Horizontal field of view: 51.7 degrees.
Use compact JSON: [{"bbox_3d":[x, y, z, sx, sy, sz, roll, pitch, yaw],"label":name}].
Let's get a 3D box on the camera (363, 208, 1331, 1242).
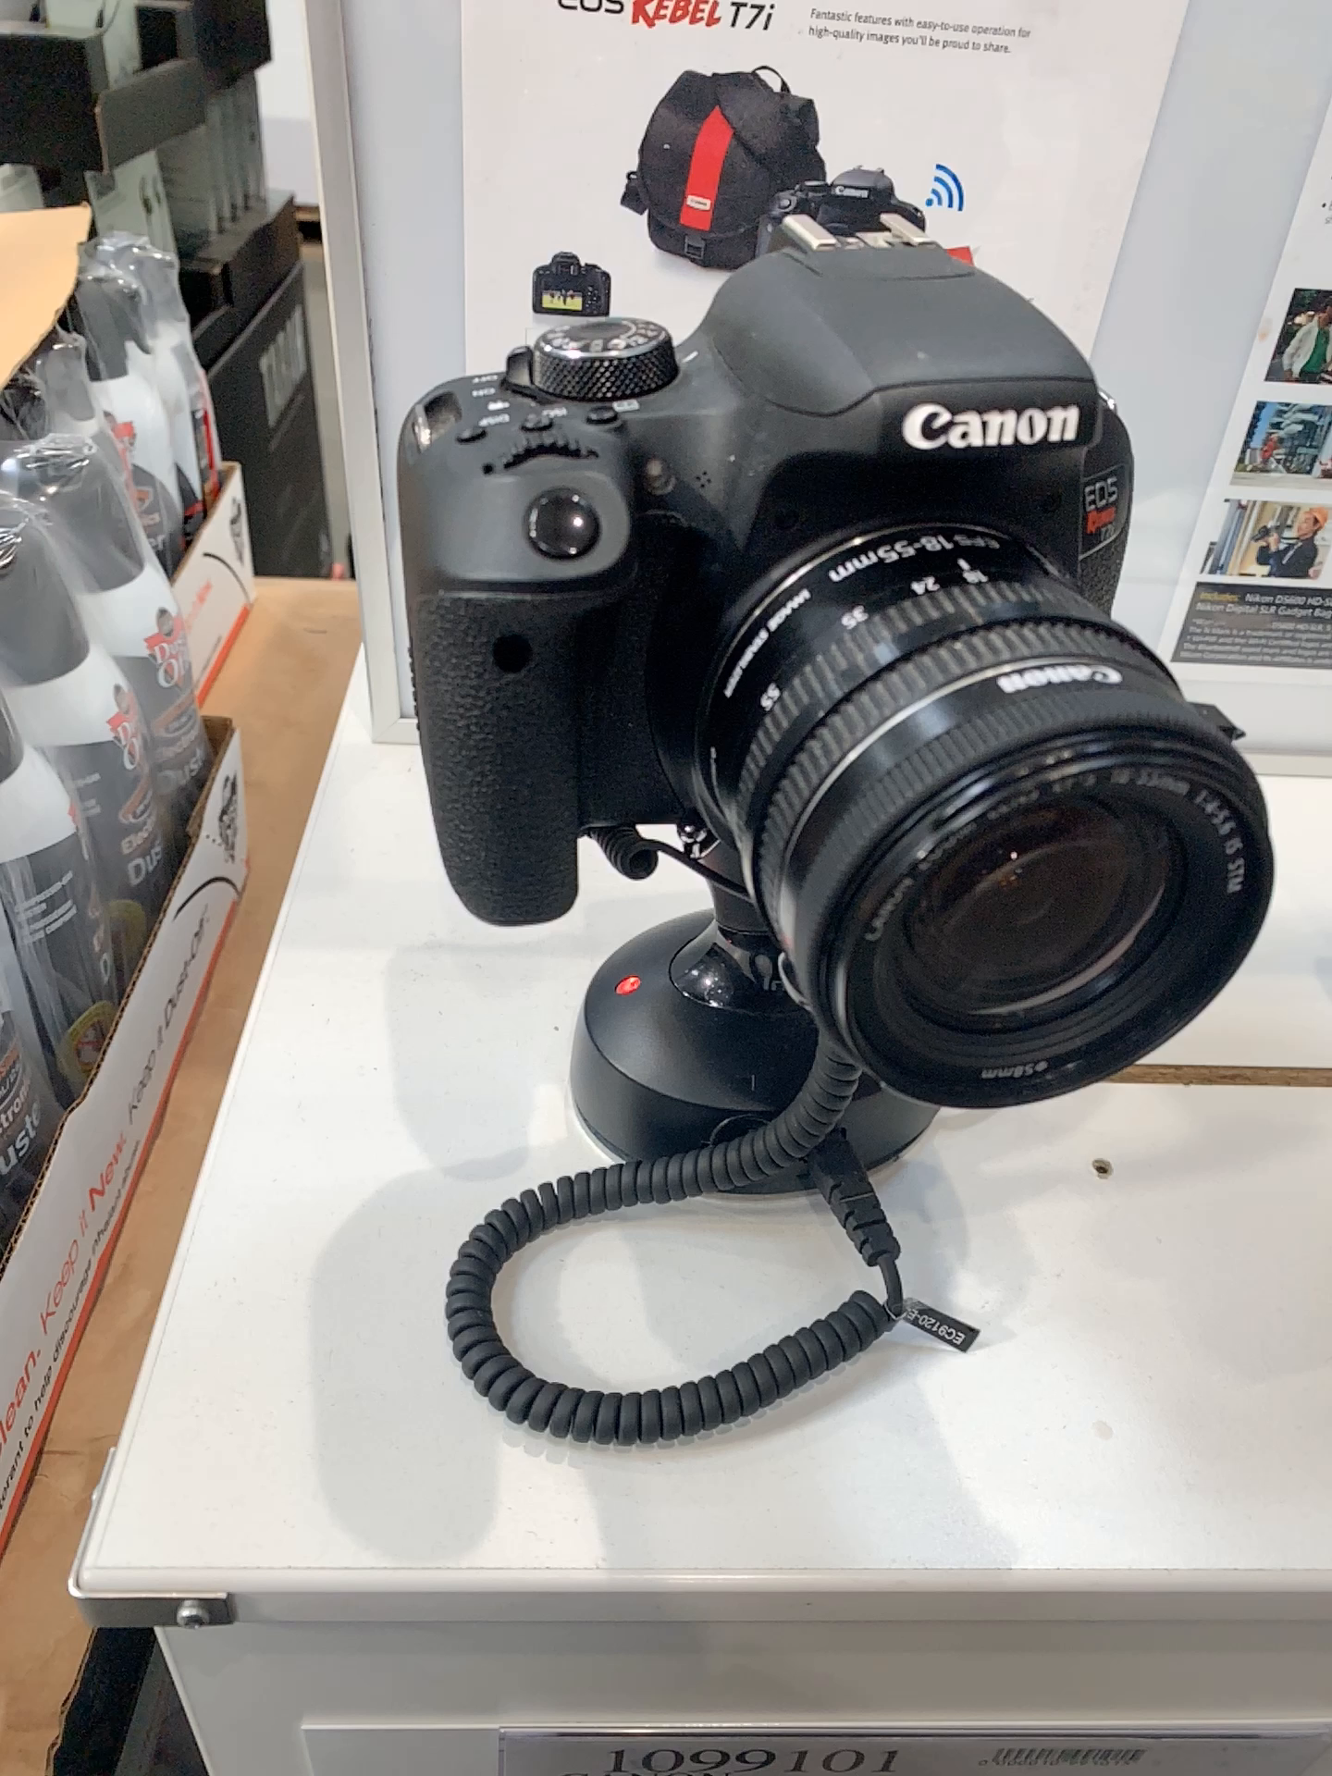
[{"bbox_3d":[0.030,-0.035,0.199,0.134,0.089,0.121,-5,39,-11],"label":"camera"}]
